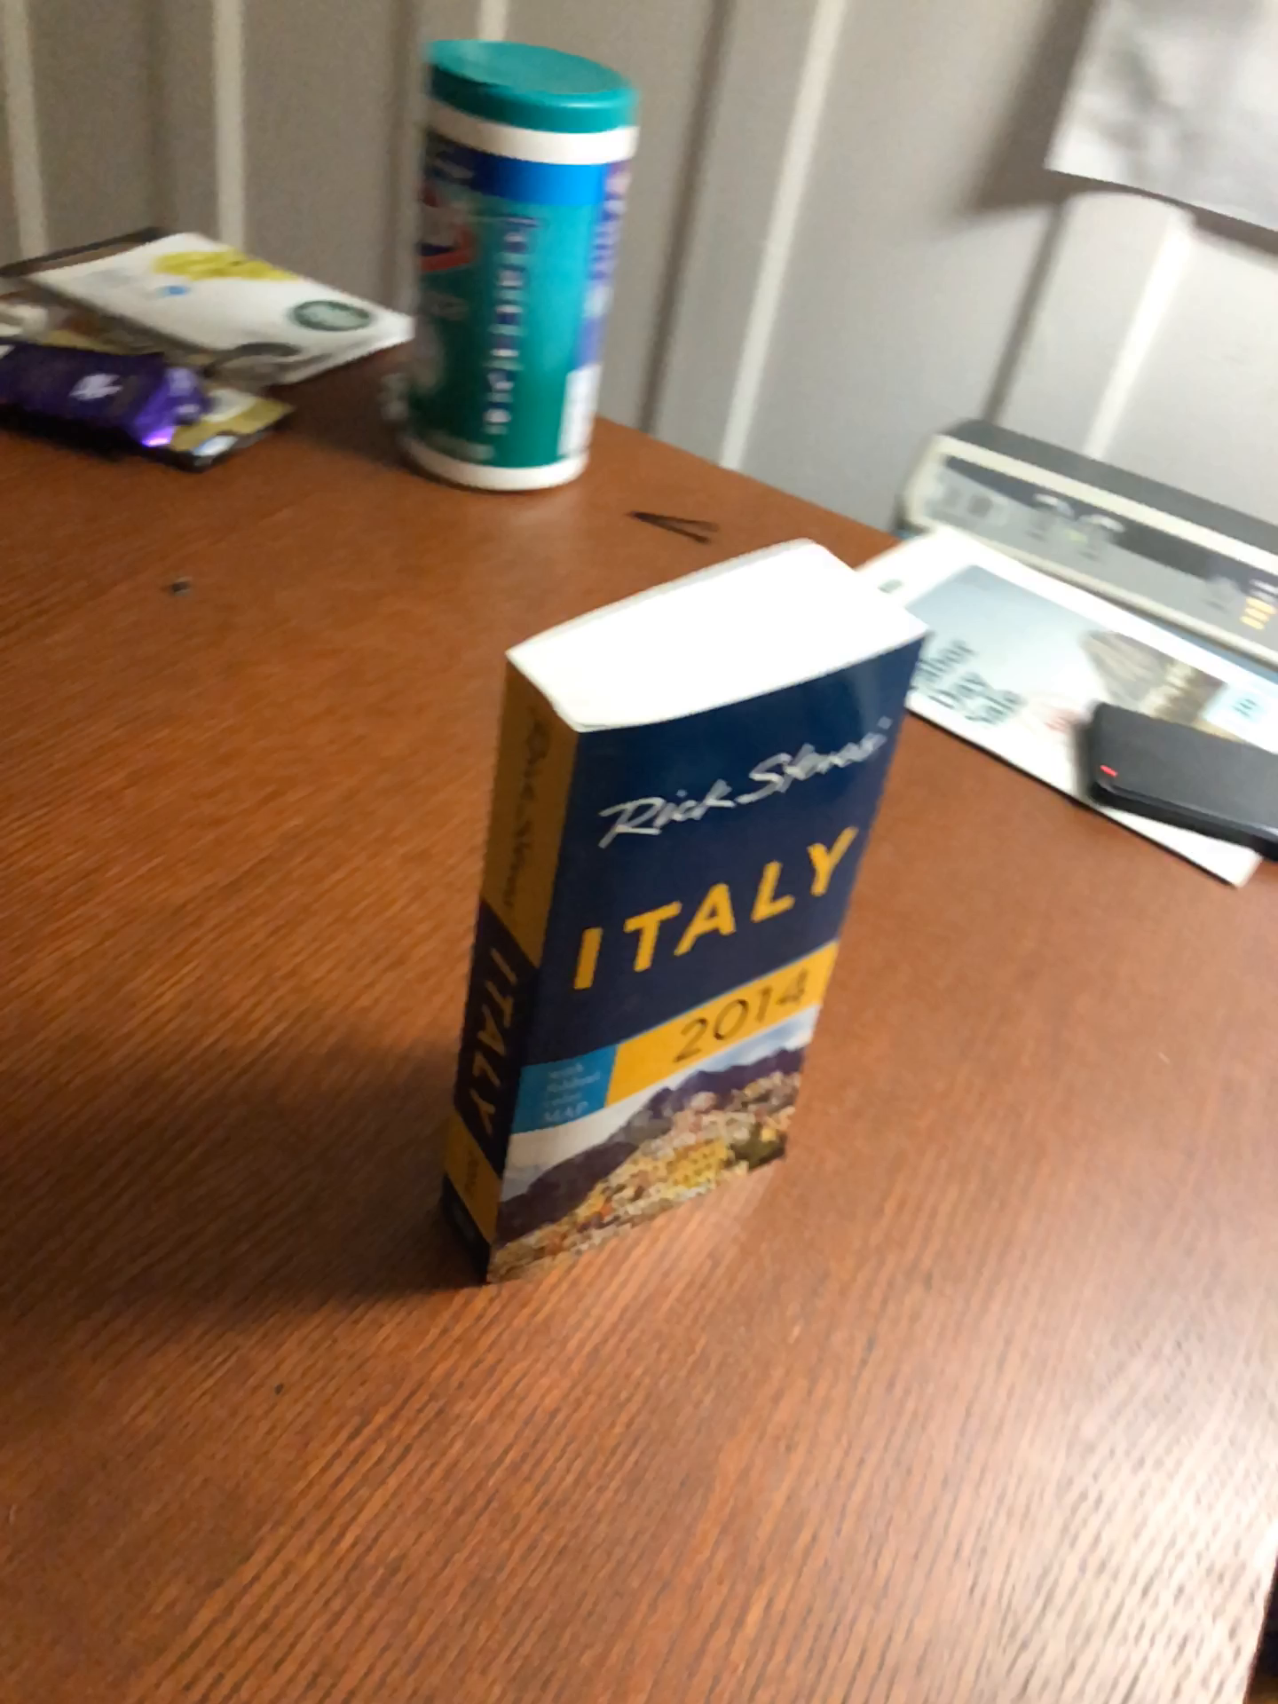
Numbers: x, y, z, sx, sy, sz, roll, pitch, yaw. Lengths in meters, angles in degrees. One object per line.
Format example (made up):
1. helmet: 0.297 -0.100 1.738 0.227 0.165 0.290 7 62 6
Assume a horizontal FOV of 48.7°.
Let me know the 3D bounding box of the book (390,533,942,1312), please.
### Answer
1. book: 0.001 0.022 0.404 0.130 0.199 0.050 -21 45 -34
